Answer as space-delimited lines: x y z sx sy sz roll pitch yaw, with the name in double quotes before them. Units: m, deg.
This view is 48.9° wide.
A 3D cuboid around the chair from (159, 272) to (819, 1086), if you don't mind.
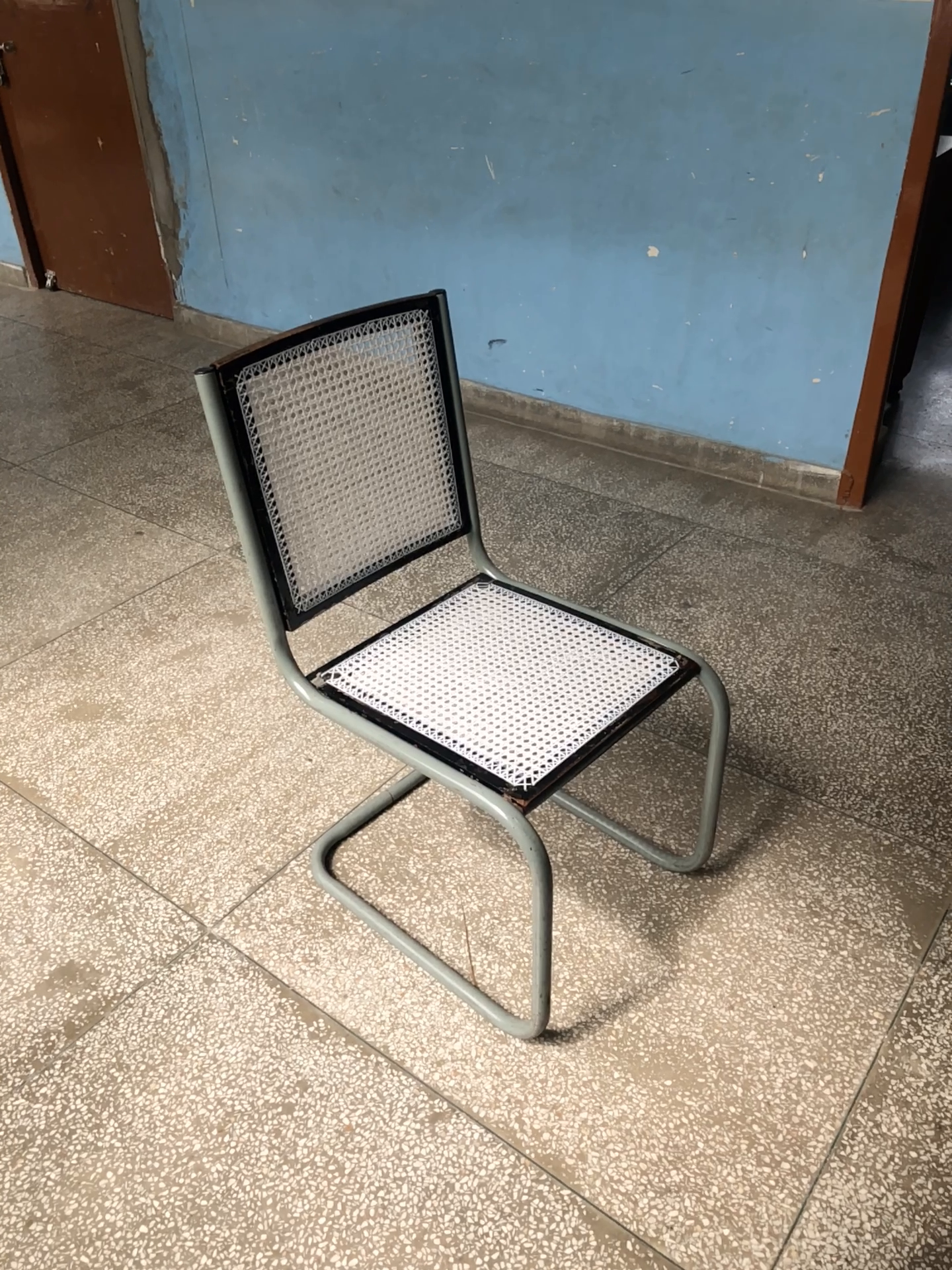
"chair" 0.021 0.027 1.419 0.571 0.817 0.491 25 42 34
